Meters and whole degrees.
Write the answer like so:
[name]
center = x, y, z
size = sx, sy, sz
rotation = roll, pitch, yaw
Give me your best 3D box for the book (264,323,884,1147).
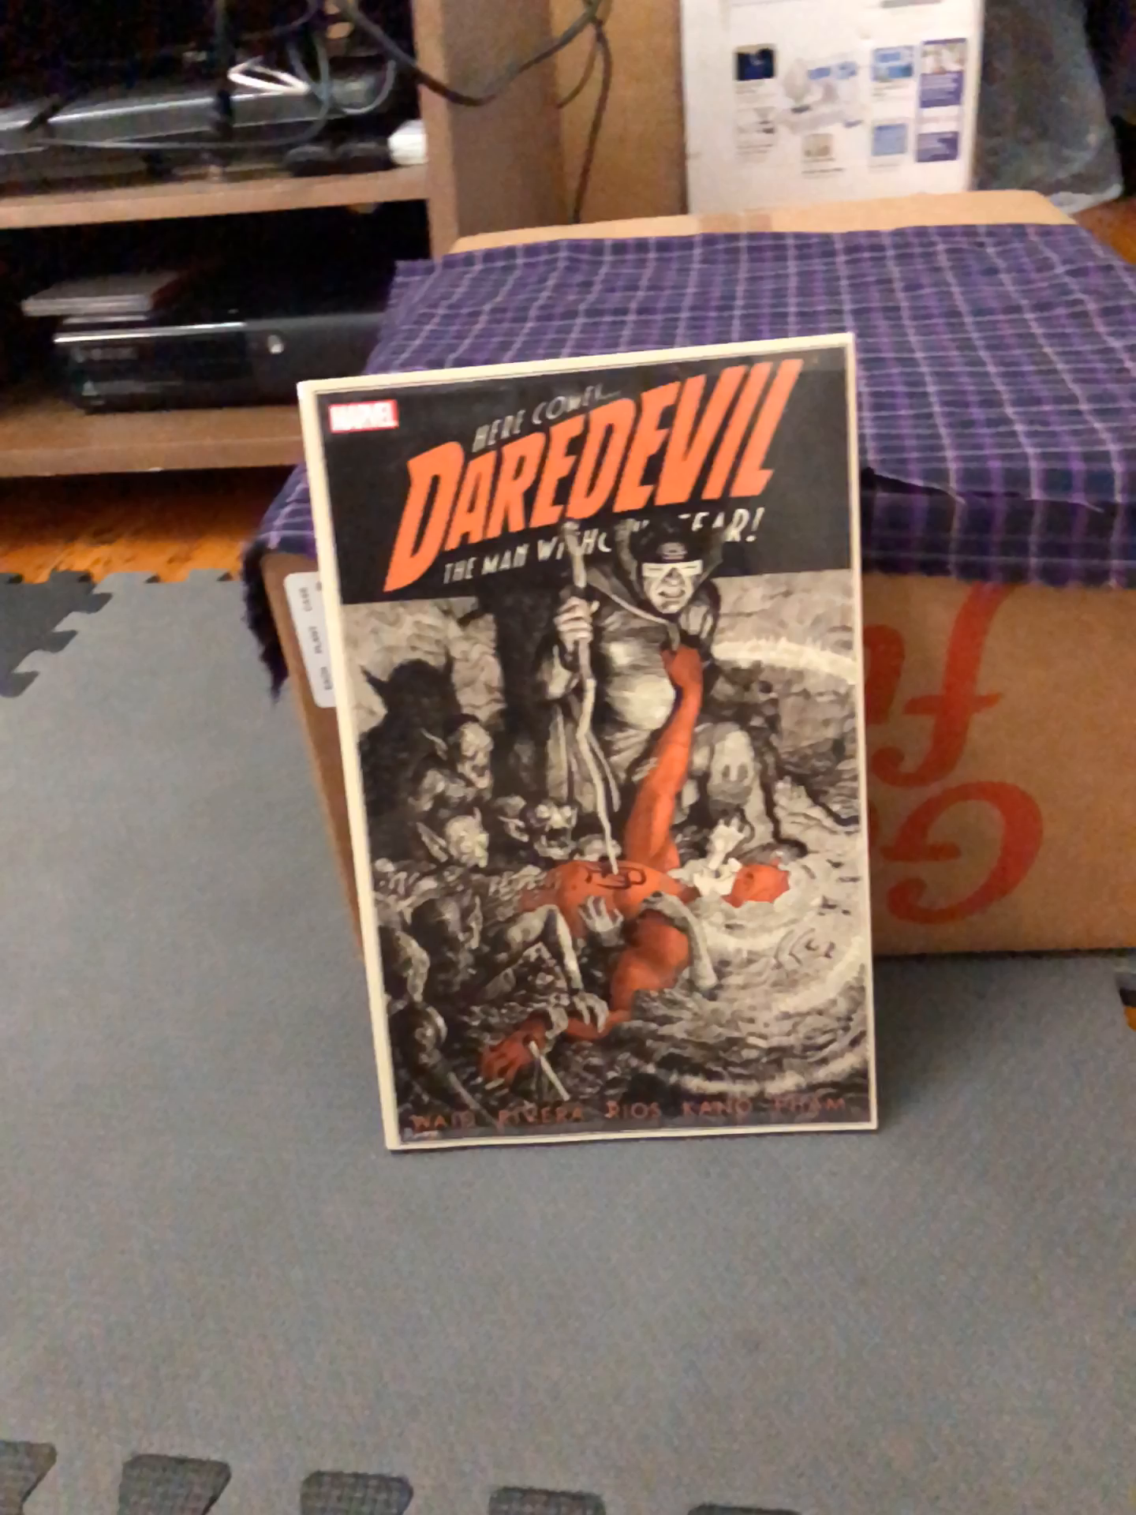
[book]
center = 0.007, 0.001, 0.367
size = 0.160, 0.229, 0.020
rotation = -4, 12, 4
